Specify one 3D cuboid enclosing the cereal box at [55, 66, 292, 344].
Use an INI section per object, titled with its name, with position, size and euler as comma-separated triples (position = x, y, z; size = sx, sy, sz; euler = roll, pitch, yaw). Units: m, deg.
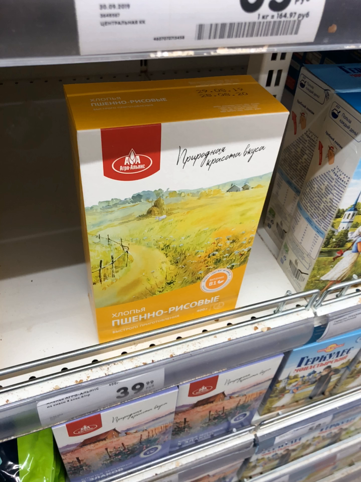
[cereal box]
position = -0.011, -0.018, 0.309
size = 0.130, 0.199, 0.060
euler = -11, 45, -17
